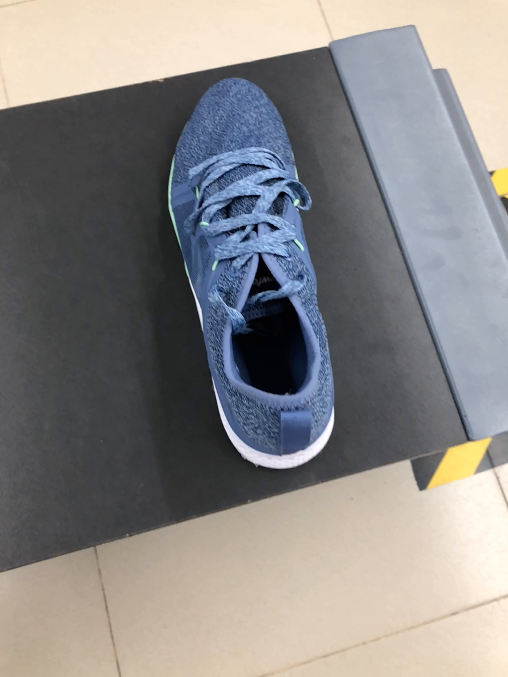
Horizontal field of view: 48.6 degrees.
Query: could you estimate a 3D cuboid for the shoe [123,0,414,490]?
[{"bbox_3d":[-0.001,-0.059,0.349,0.100,0.080,0.280,-12,75,-5],"label":"shoe"}]
